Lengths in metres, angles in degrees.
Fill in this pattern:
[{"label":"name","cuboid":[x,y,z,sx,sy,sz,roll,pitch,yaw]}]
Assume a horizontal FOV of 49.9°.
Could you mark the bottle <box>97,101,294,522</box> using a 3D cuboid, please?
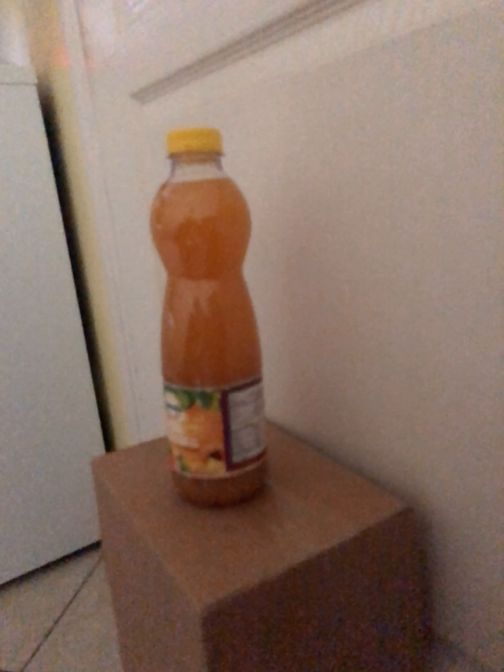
[{"label":"bottle","cuboid":[-0.036,-0.017,0.405,0.080,0.279,0.080,-6,14,1]}]
